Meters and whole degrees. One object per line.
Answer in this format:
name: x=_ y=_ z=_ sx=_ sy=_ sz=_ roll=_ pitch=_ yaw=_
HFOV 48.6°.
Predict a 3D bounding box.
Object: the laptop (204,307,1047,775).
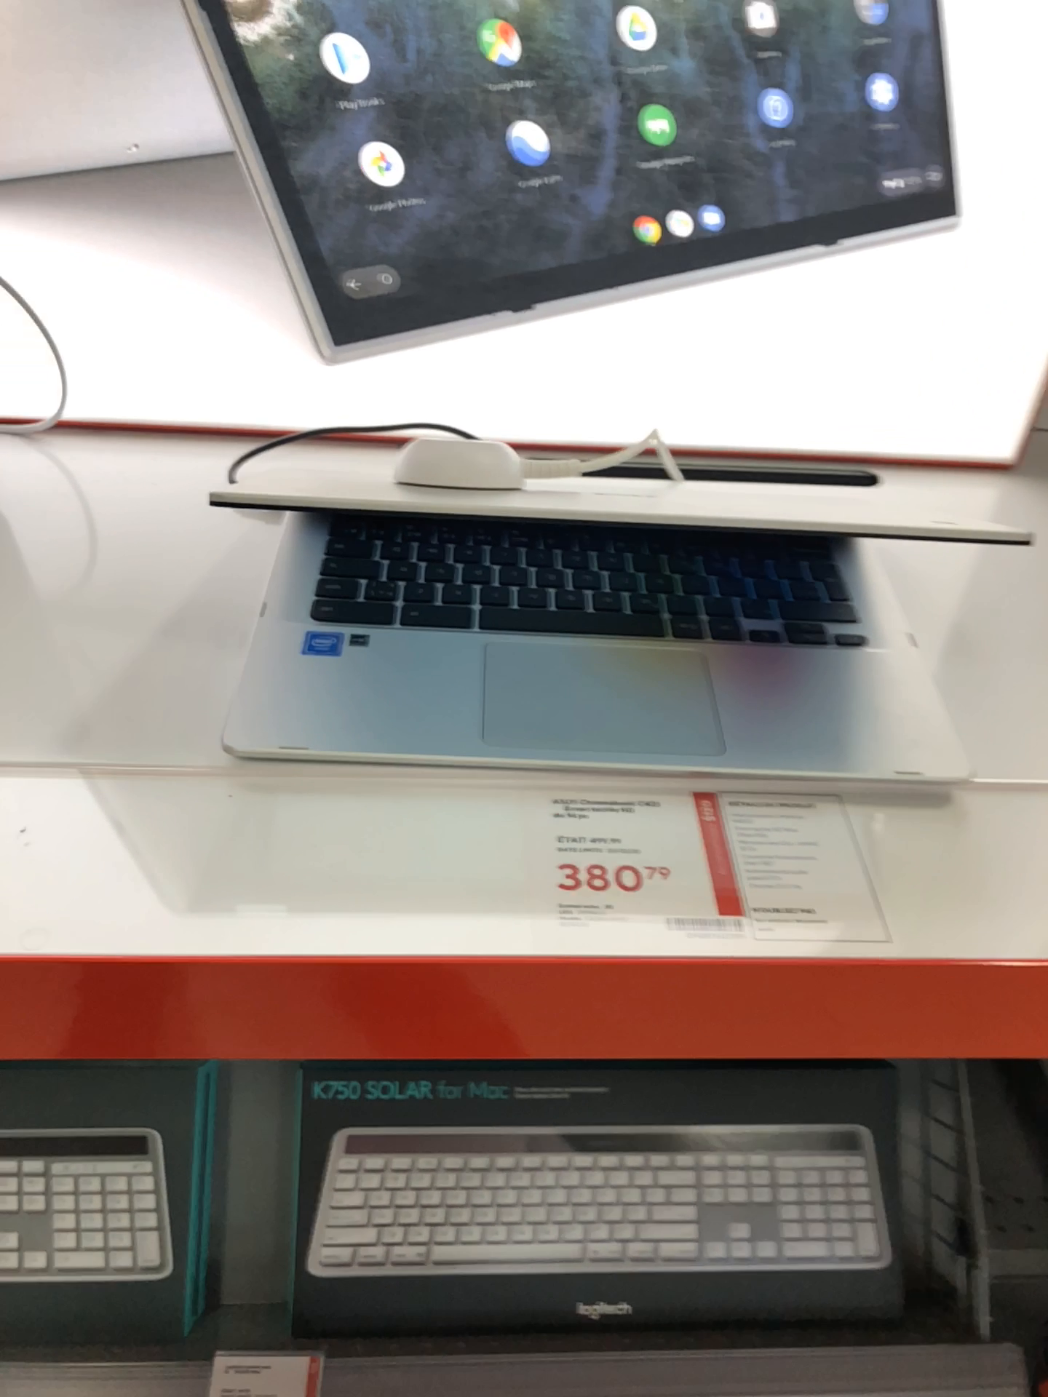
laptop: x=0.040 y=-0.083 z=0.540 sx=0.317 sy=0.100 sz=0.226 roll=3 pitch=38 yaw=-3
